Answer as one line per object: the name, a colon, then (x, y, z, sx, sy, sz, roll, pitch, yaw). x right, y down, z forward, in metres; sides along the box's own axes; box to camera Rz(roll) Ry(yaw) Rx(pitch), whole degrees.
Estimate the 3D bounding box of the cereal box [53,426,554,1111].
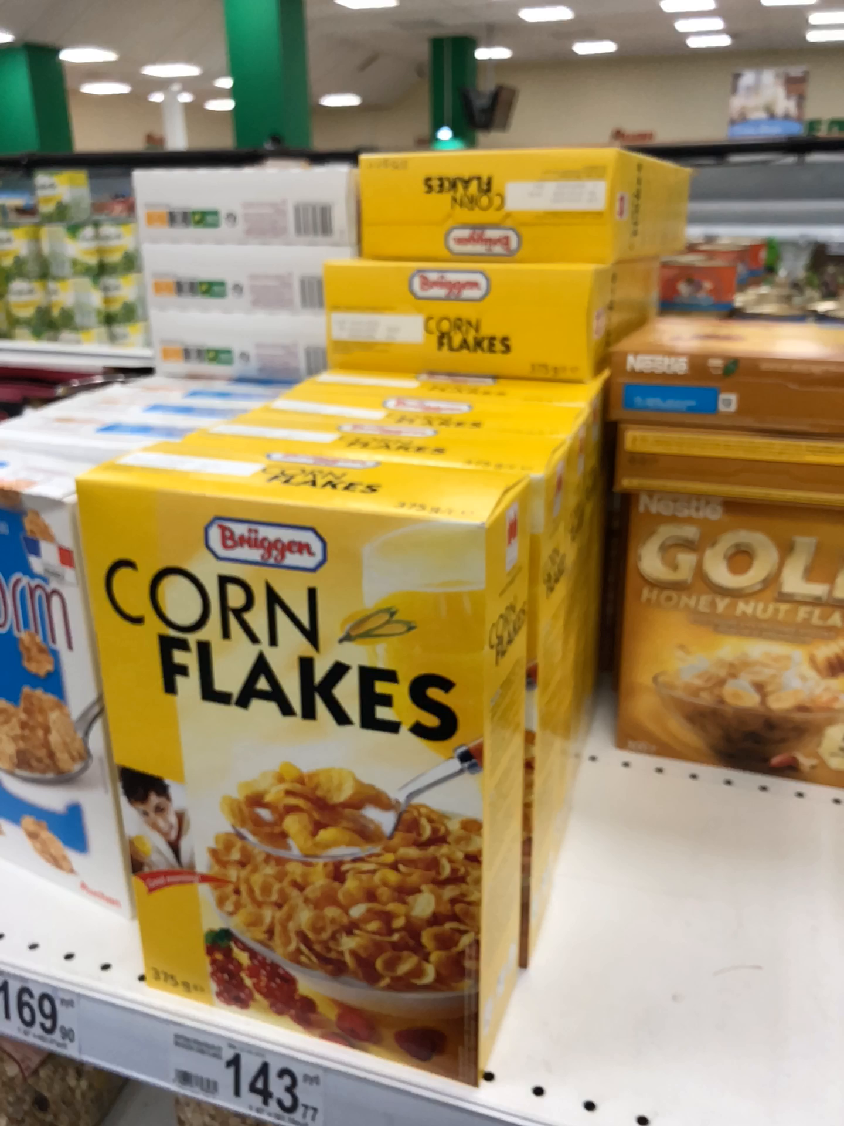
cereal box: (-0.048, 0.096, 0.461, 0.200, 0.298, 0.080, 7, 23, 18)
